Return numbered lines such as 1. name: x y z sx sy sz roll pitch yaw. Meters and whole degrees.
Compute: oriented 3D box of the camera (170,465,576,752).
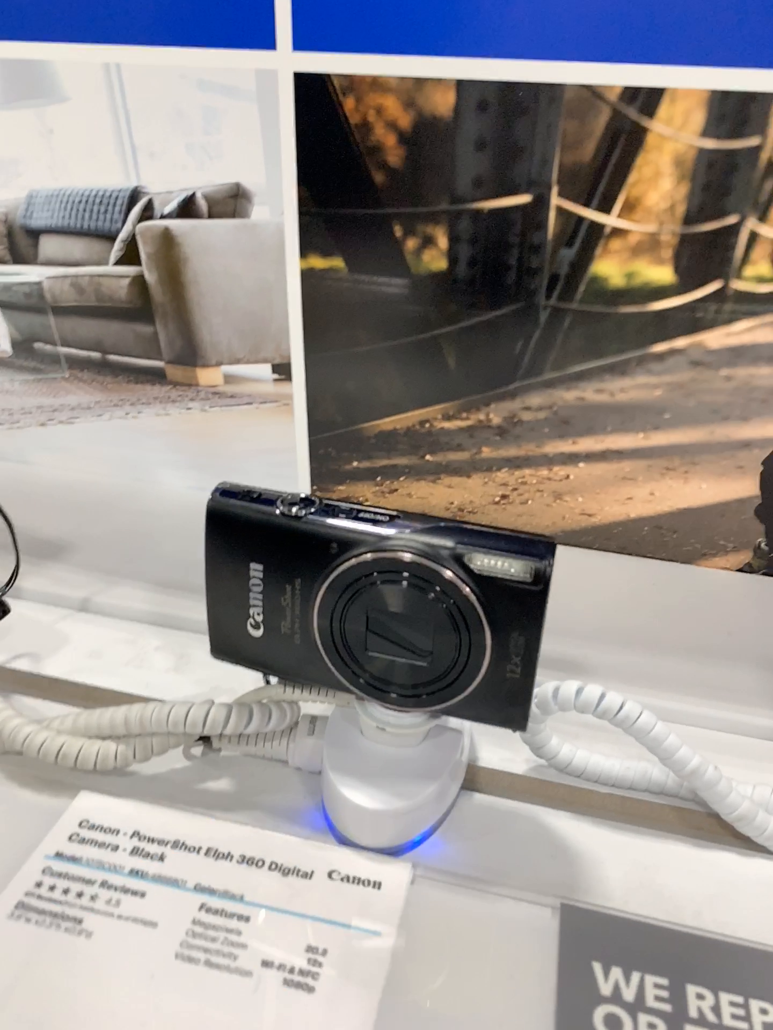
1. camera: -0.005 0.024 0.225 0.106 0.055 0.027 10 24 11
